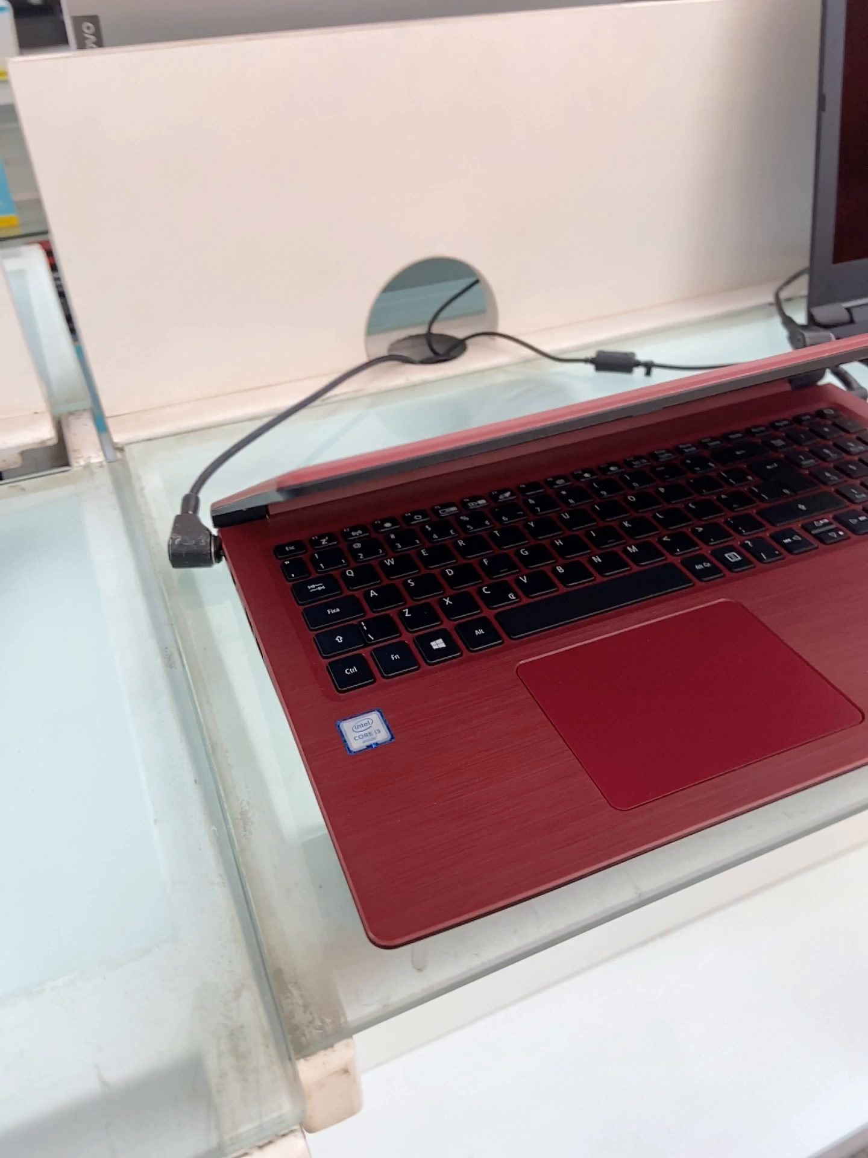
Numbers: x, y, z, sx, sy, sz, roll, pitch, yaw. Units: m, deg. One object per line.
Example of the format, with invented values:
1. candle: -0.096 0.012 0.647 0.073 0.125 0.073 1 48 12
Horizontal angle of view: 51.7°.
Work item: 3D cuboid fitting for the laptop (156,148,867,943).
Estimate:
1. laptop: 0.111 -0.061 0.367 0.380 0.132 0.237 -16 38 -17
